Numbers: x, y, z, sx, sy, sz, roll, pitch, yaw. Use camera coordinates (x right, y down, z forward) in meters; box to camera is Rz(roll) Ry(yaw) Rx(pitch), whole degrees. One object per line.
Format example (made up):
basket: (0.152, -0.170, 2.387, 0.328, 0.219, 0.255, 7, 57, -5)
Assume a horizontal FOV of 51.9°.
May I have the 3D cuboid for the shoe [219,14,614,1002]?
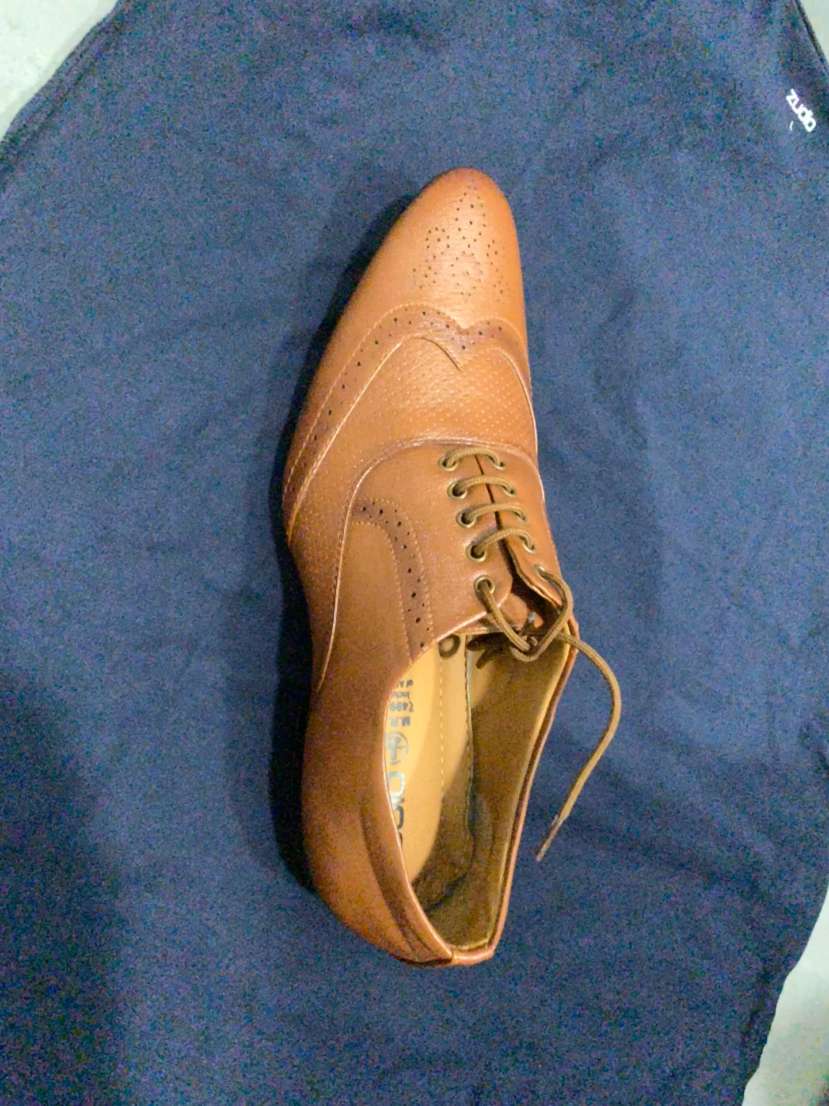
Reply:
shoe: (0.000, -0.015, 0.333, 0.100, 0.090, 0.320, 7, 84, -24)
